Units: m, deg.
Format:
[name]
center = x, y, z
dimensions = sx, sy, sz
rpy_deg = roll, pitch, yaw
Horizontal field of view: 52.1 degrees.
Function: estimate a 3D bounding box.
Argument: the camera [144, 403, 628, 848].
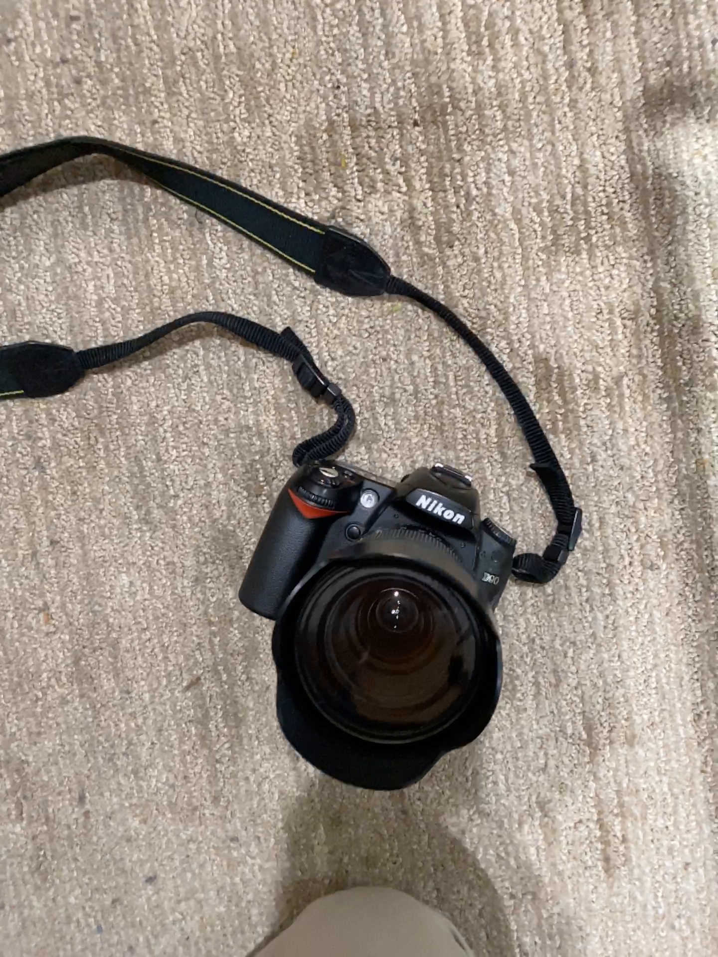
[camera]
center = 0.013, 0.047, 0.343
dimensions = 0.138, 0.166, 0.114
rpy_deg = 23, 95, 2
